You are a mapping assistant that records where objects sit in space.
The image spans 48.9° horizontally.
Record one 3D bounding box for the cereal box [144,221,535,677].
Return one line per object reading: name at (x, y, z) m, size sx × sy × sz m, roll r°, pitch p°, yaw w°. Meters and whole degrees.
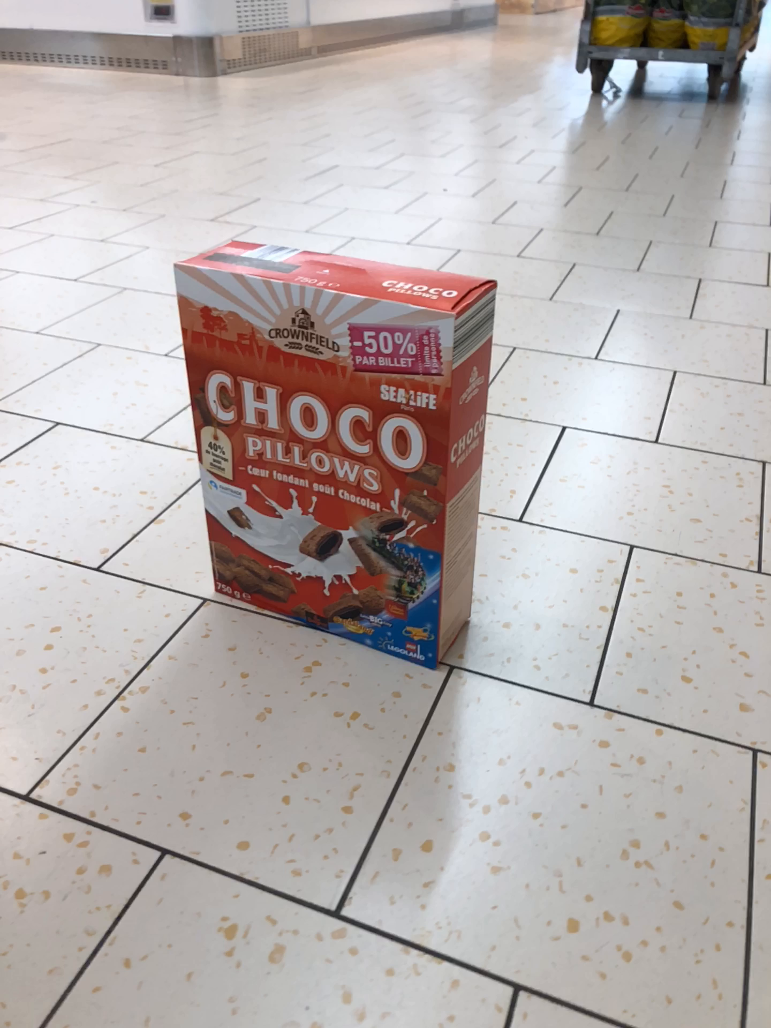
cereal box at (-0.030, -0.046, 0.555) m, size 0.210 × 0.239 × 0.091 m, roll 16°, pitch 35°, yaw 24°
